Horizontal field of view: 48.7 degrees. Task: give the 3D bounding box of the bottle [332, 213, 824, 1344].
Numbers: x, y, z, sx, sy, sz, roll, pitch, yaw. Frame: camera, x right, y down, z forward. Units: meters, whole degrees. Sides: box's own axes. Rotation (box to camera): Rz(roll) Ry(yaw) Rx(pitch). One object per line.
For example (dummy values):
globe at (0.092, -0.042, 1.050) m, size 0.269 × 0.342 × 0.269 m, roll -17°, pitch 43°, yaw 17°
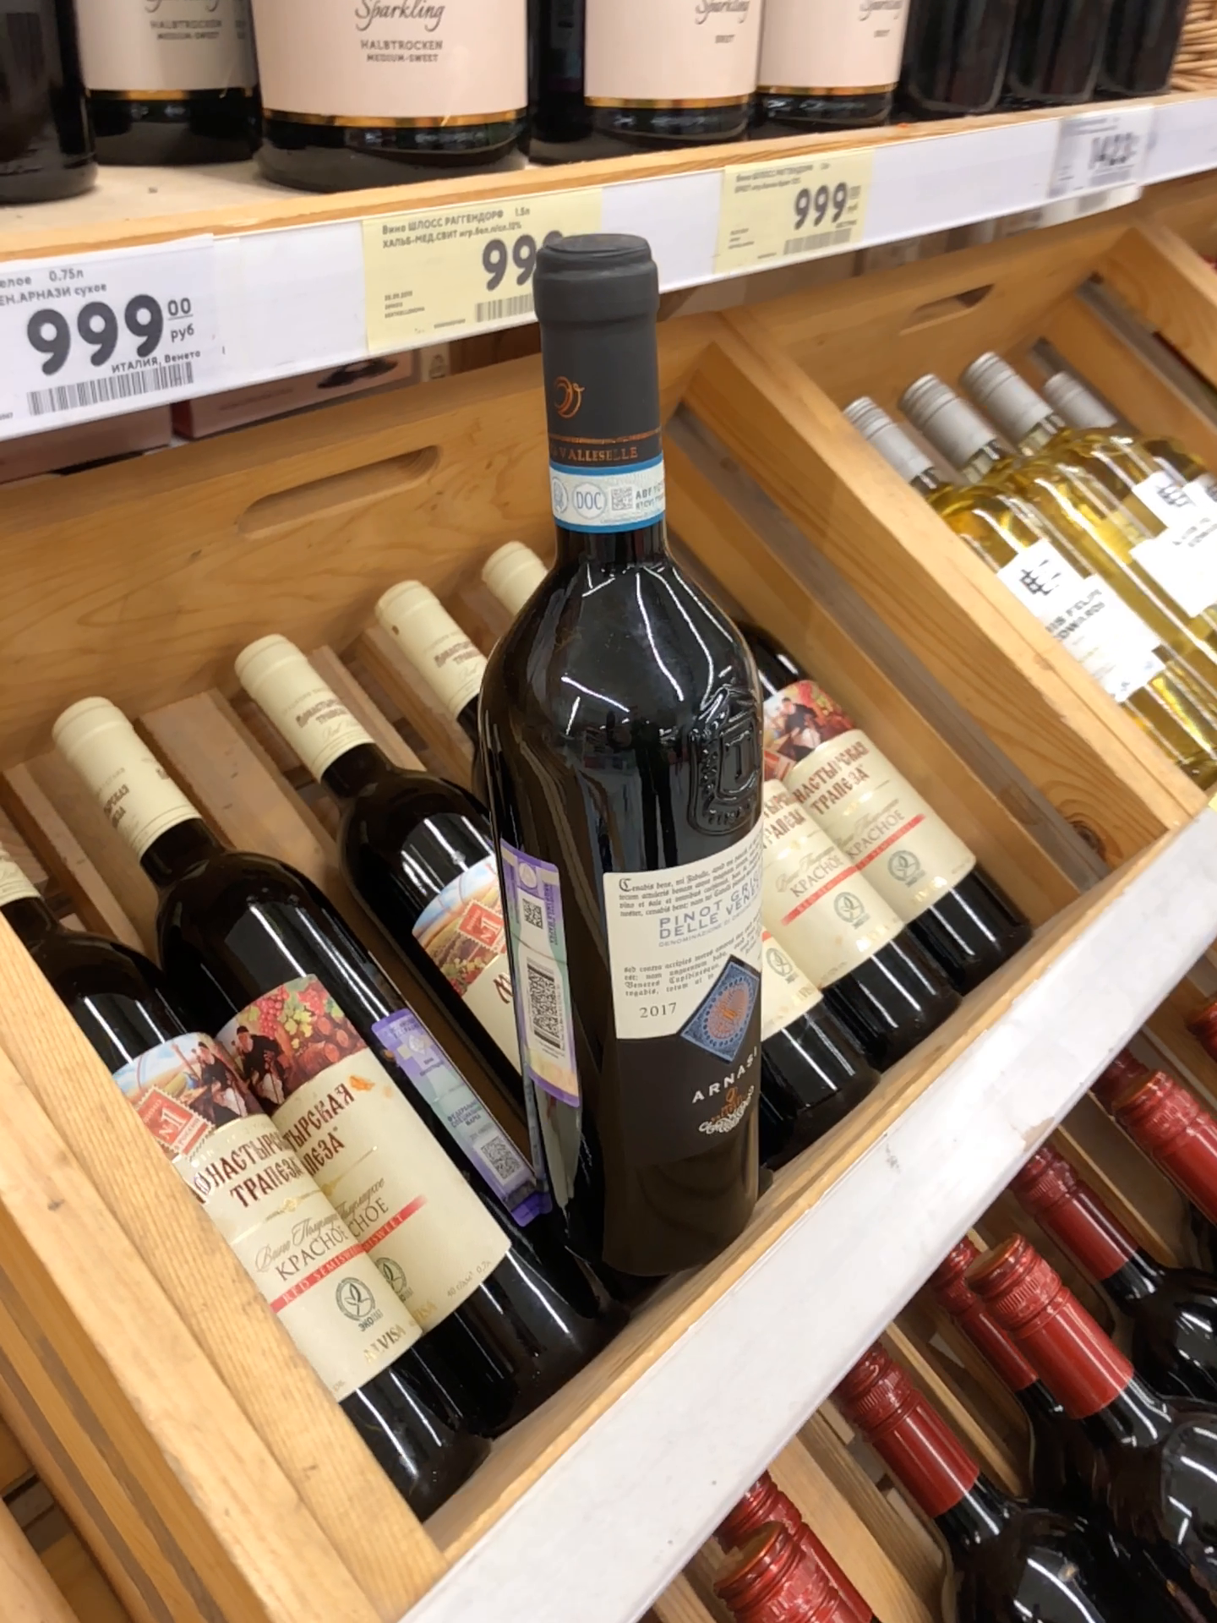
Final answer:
bottle at (0.003, -0.001, 0.403) m, size 0.080 × 0.318 × 0.090 m, roll 22°, pitch 37°, yaw 39°
